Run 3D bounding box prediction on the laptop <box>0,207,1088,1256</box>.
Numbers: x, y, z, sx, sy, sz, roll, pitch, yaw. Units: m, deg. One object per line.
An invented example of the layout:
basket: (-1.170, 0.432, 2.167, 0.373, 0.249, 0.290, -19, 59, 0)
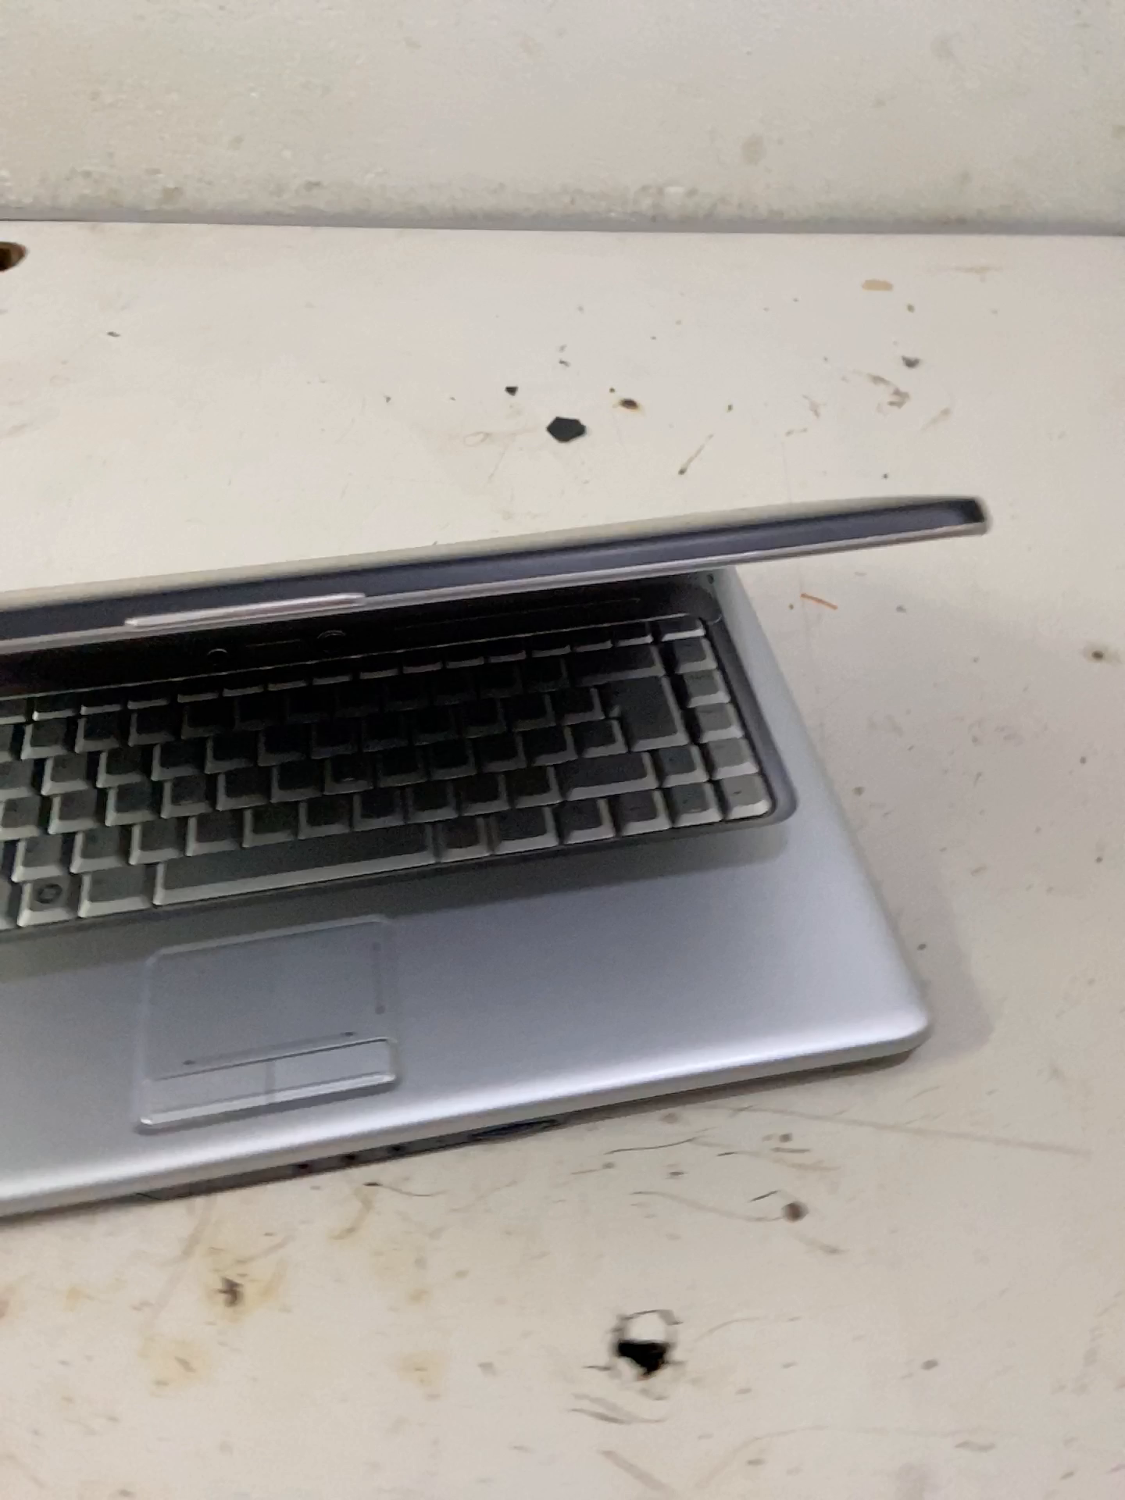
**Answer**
laptop: (-0.079, -0.028, 0.356, 0.347, 0.145, 0.238, -8, 47, -7)
